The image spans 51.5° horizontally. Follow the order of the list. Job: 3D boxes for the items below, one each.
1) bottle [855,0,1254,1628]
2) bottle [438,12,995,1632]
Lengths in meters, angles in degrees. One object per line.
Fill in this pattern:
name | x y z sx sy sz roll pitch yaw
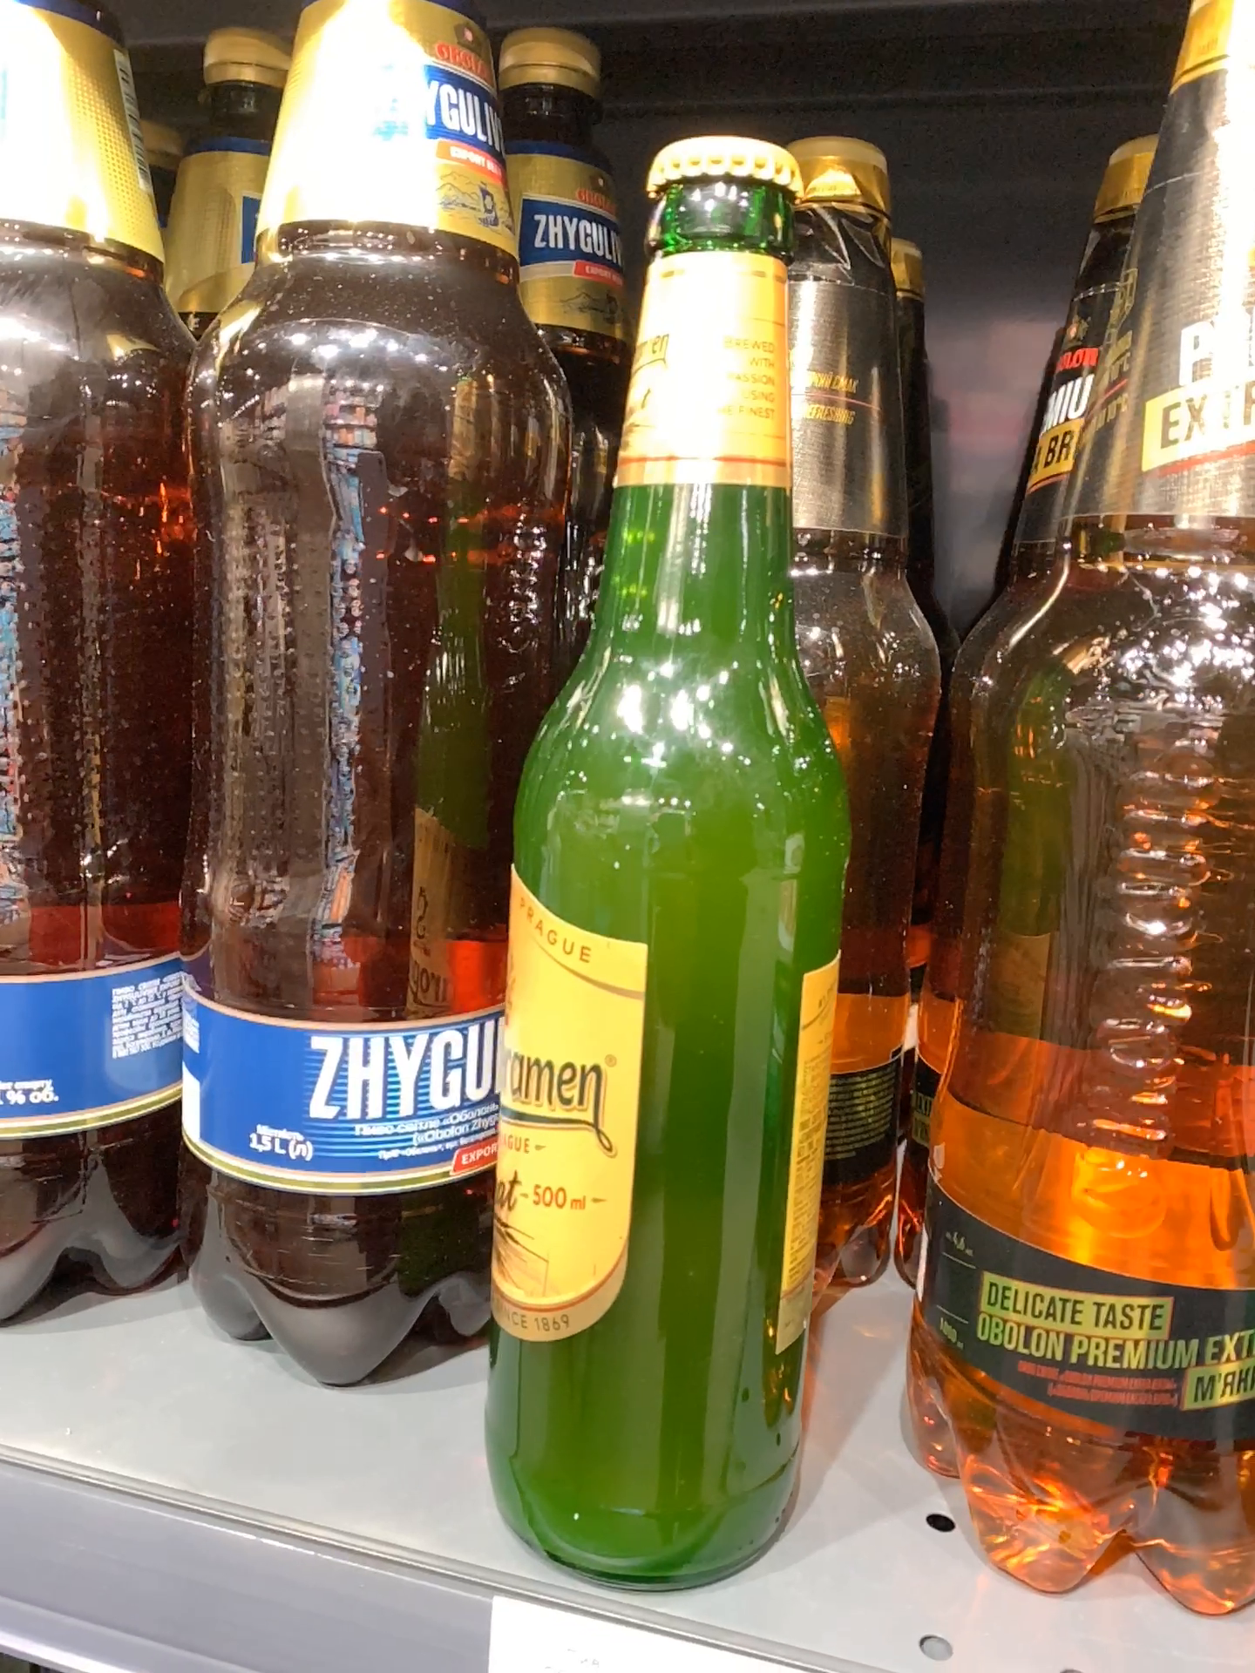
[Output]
bottle | 0.093 -0.008 0.231 0.075 0.270 0.066 3 9 2
bottle | 0.009 0.004 0.243 0.067 0.255 0.062 3 9 0
